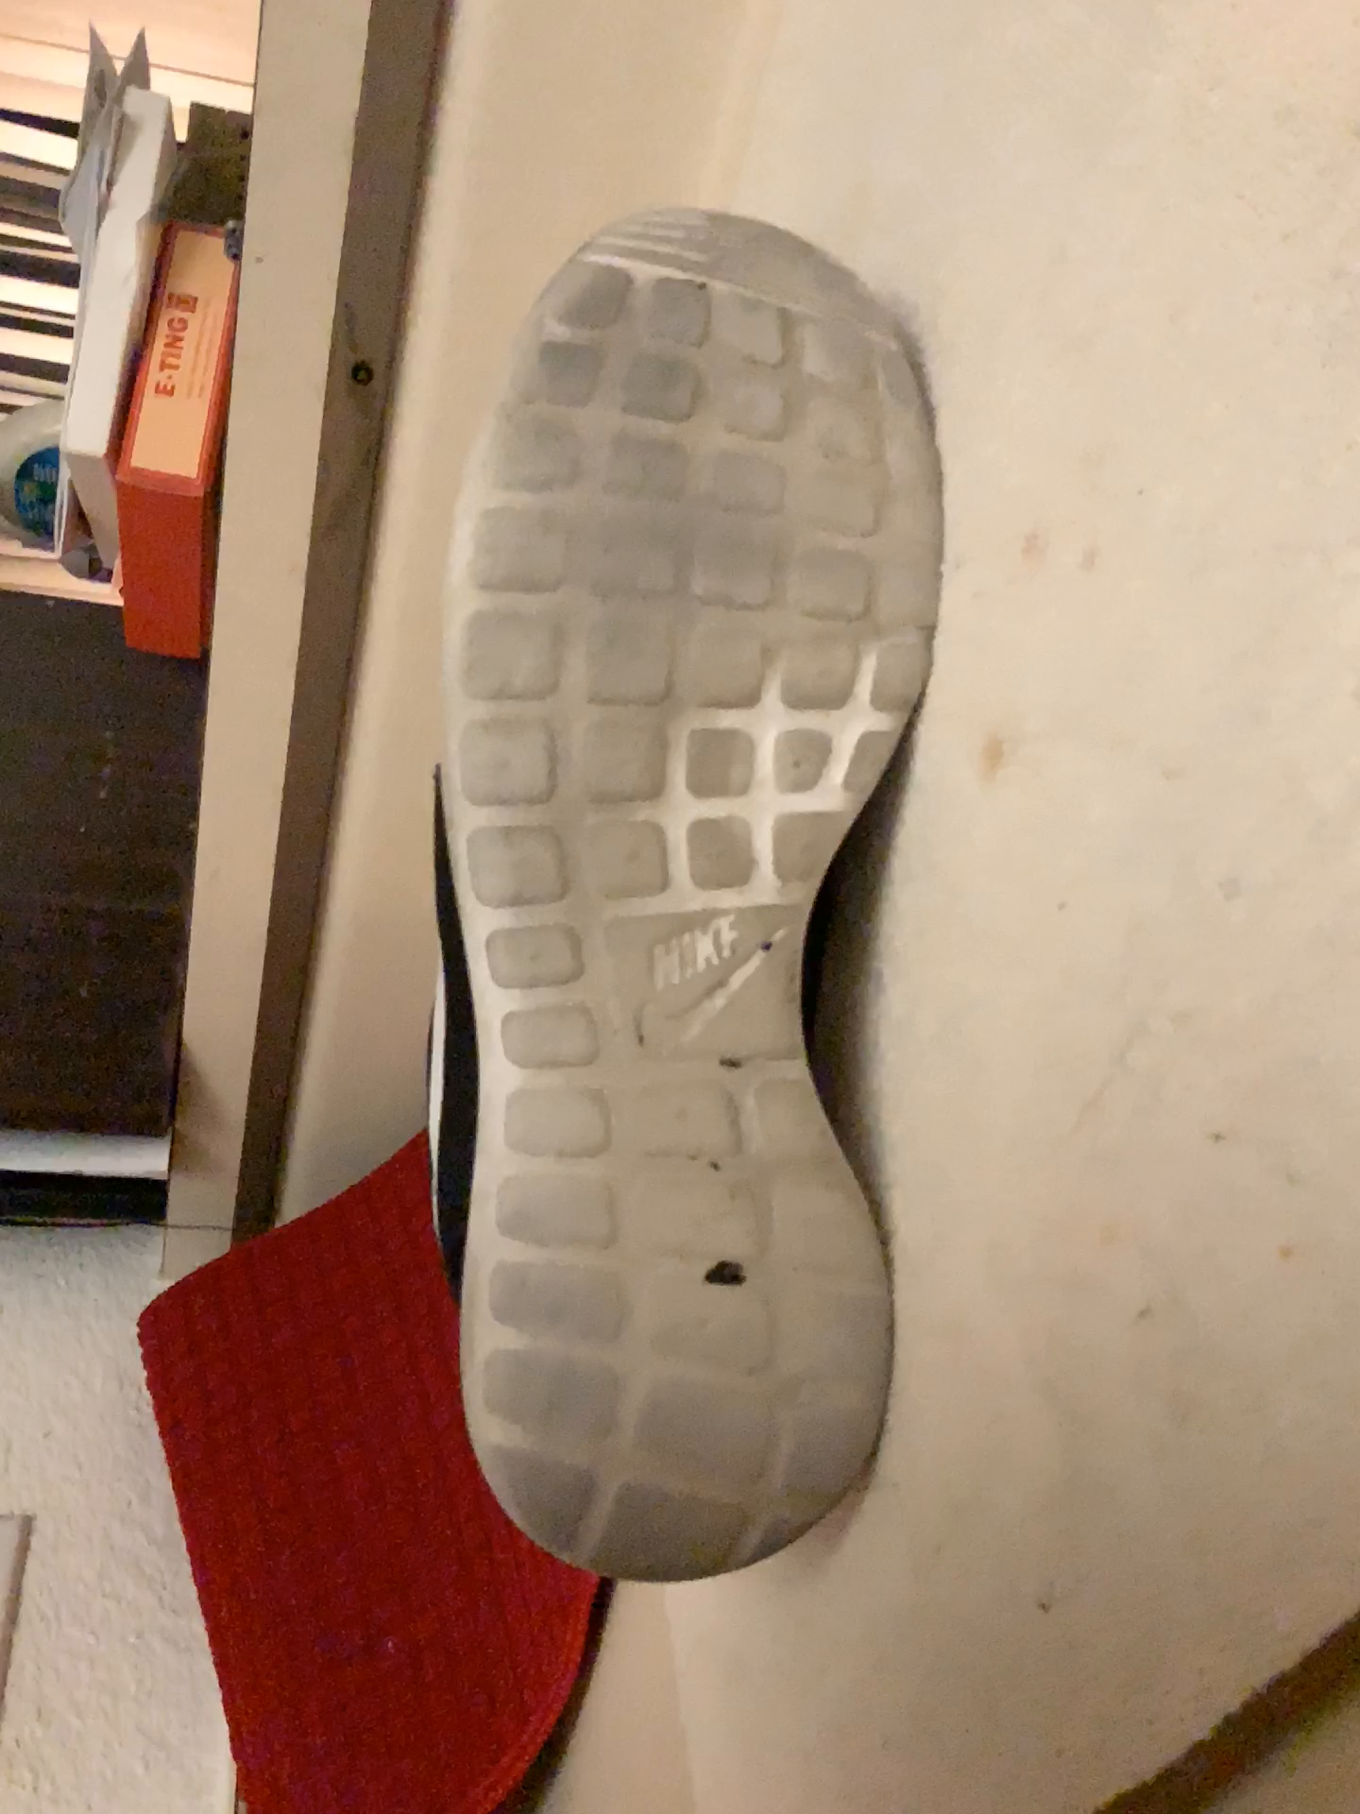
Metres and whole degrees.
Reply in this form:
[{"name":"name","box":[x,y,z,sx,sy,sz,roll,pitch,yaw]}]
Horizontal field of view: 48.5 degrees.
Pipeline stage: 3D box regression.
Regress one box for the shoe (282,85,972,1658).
[{"name":"shoe","box":[-0.026,-0.002,0.356,0.180,0.100,0.270,167,108,-74]}]
